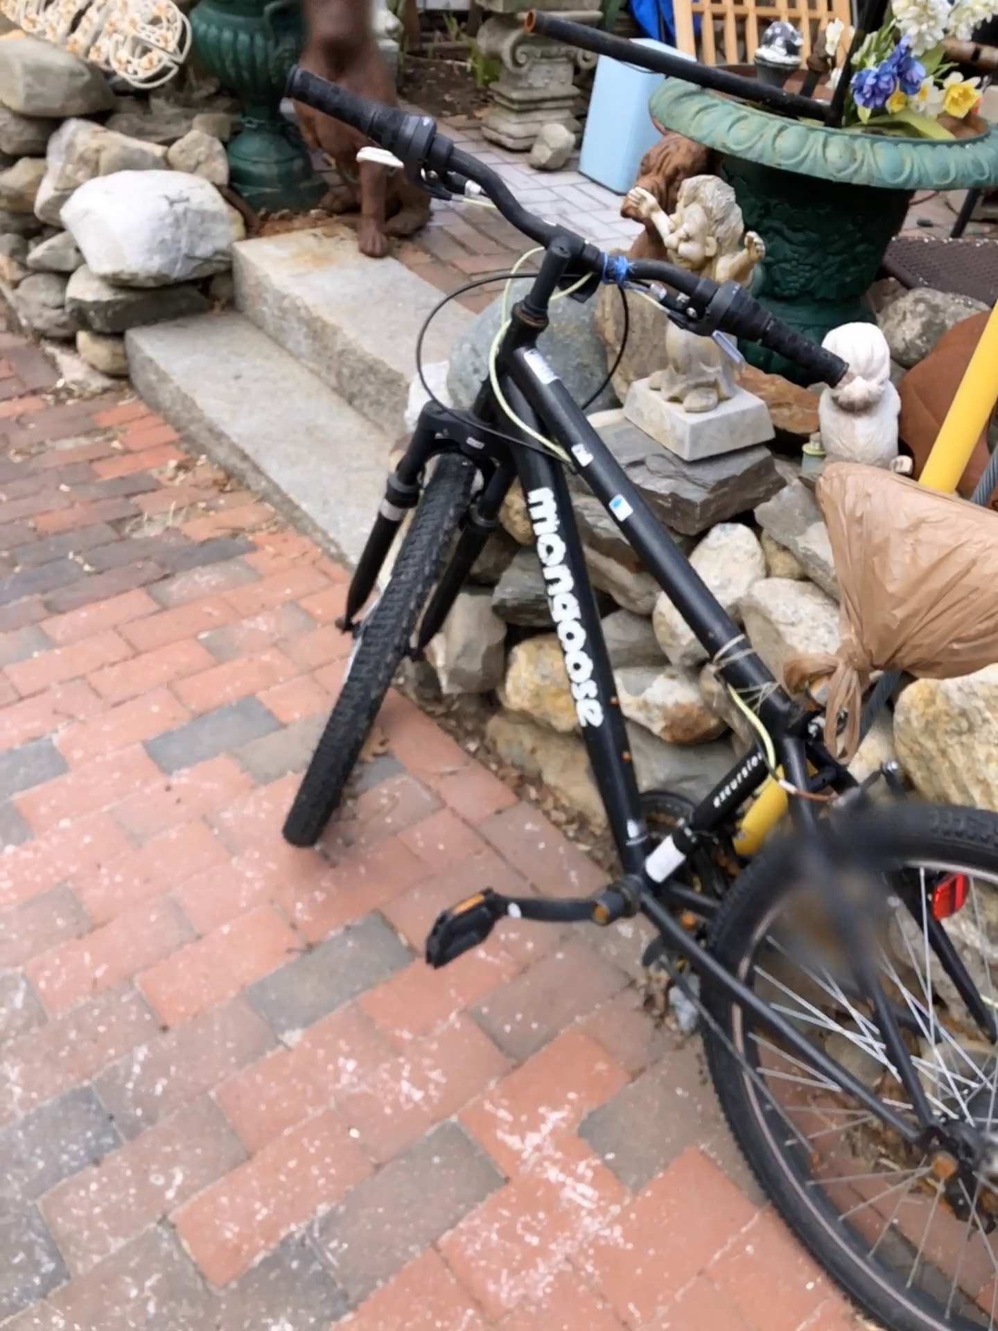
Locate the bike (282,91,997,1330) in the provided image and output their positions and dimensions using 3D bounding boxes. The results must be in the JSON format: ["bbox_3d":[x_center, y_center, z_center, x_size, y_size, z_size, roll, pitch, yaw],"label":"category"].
[{"bbox_3d":[0.326,0.033,1.230,0.634,0.873,1.413,-18,47,-29],"label":"bike"}]
